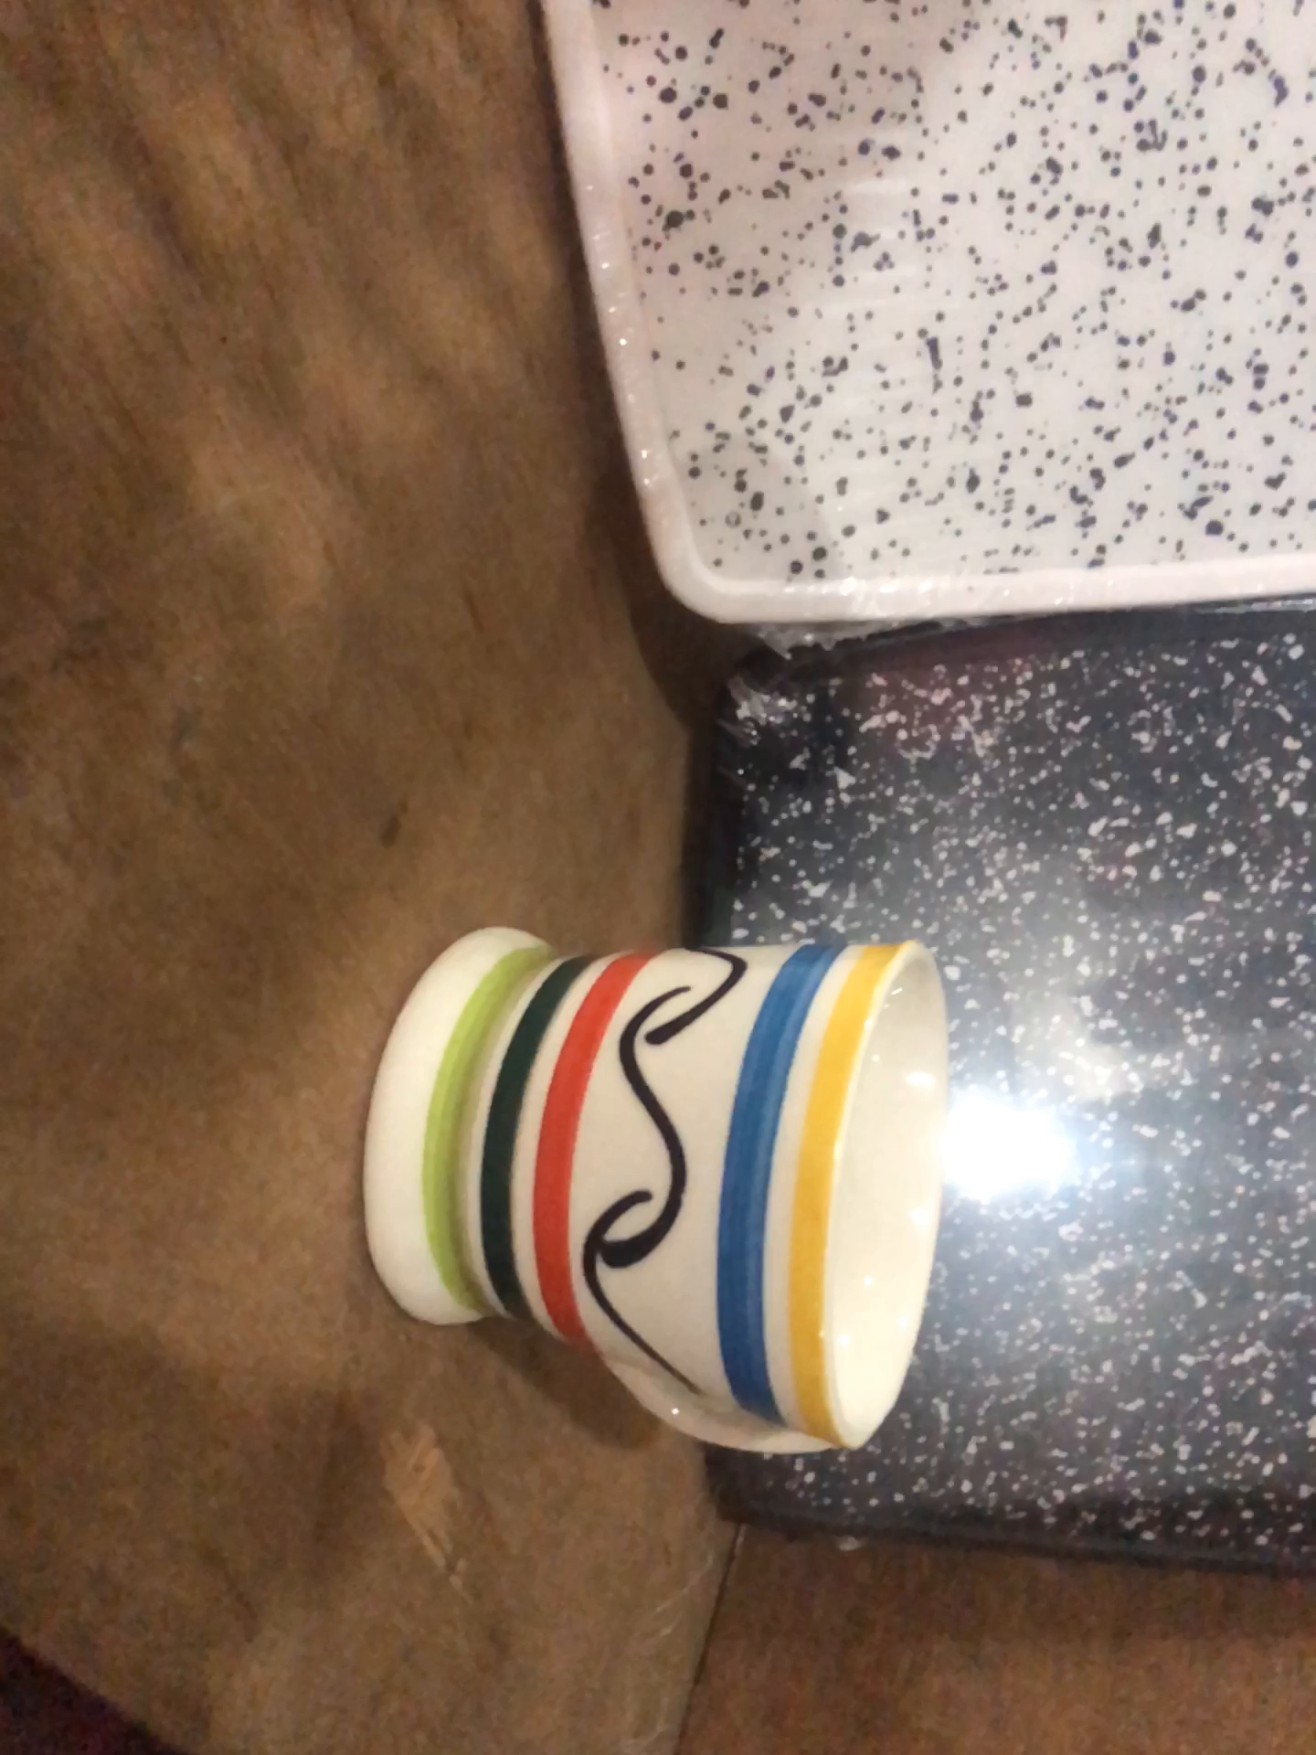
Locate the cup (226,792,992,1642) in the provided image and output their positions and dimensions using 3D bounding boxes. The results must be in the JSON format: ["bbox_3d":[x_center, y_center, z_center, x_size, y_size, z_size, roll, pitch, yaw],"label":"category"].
[{"bbox_3d":[0.002,0.048,0.219,0.060,0.079,0.100,-59,146,-47],"label":"cup"}]
